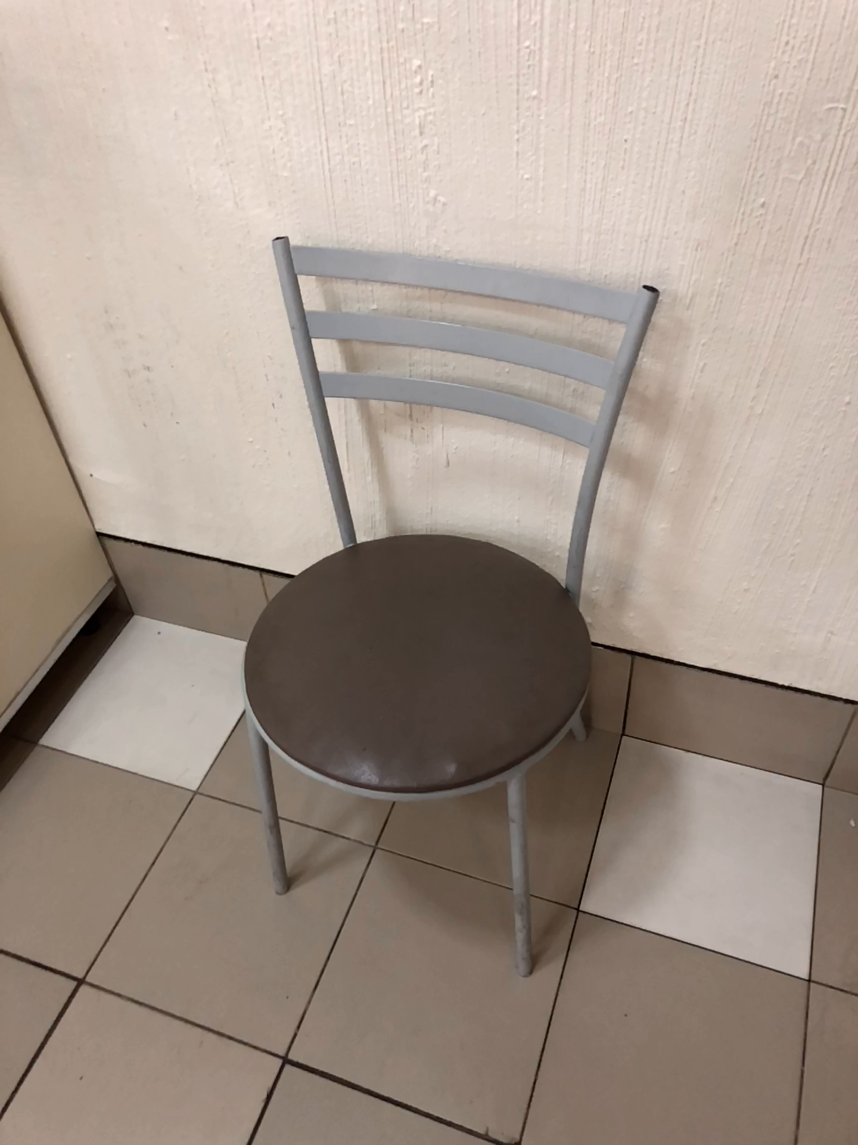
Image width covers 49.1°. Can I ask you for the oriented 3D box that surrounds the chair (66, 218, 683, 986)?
[{"bbox_3d":[0.000,0.065,1.109,0.430,0.765,0.423,11,47,16],"label":"chair"}]
